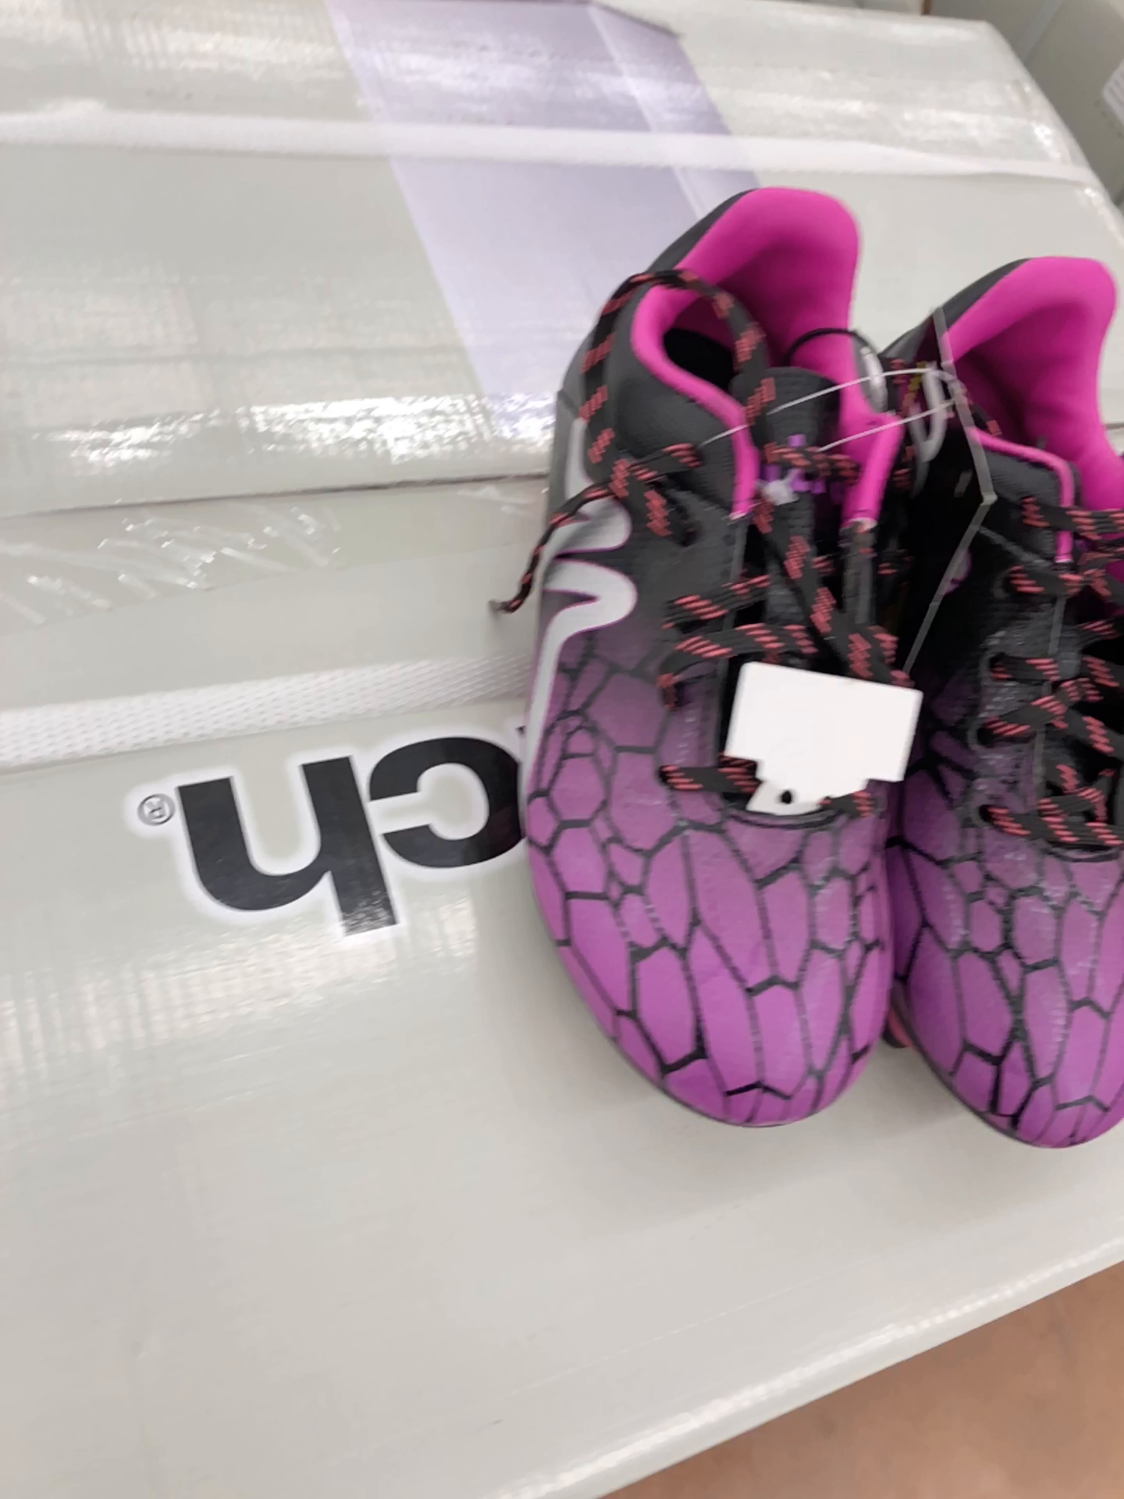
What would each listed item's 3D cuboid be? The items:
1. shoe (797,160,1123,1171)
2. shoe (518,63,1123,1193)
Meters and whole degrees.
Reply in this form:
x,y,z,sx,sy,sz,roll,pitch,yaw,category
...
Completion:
x,y,z,sx,sy,sz,roll,pitch,yaw,category
0.122,-0.020,0.285,0.080,0.080,0.210,6,62,-17,shoe
0.041,-0.026,0.256,0.080,0.080,0.210,7,62,-16,shoe
